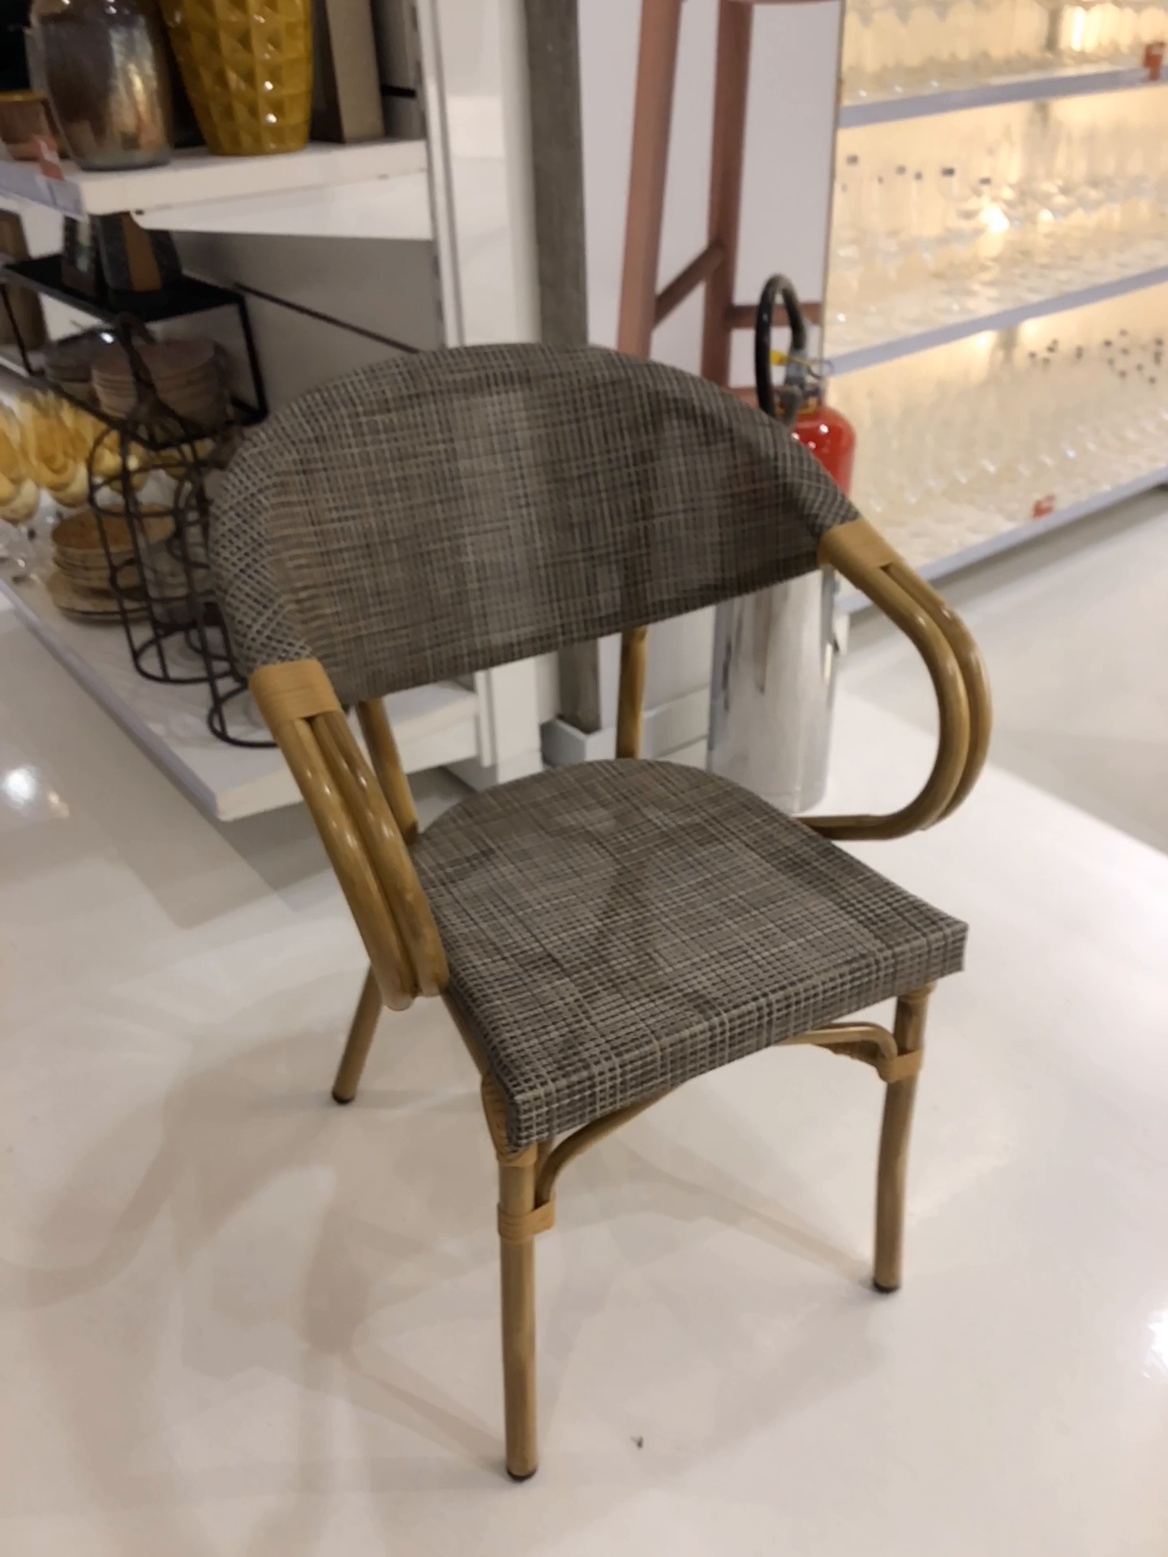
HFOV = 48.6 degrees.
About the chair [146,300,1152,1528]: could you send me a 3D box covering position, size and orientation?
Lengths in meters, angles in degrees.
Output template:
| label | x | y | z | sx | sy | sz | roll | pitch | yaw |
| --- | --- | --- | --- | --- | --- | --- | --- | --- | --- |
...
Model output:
| label | x | y | z | sx | sy | sz | roll | pitch | yaw |
| --- | --- | --- | --- | --- | --- | --- | --- | --- | --- |
| chair | 0.013 | 0.071 | 1.151 | 0.521 | 0.784 | 0.573 | -17 | 35 | -22 |
